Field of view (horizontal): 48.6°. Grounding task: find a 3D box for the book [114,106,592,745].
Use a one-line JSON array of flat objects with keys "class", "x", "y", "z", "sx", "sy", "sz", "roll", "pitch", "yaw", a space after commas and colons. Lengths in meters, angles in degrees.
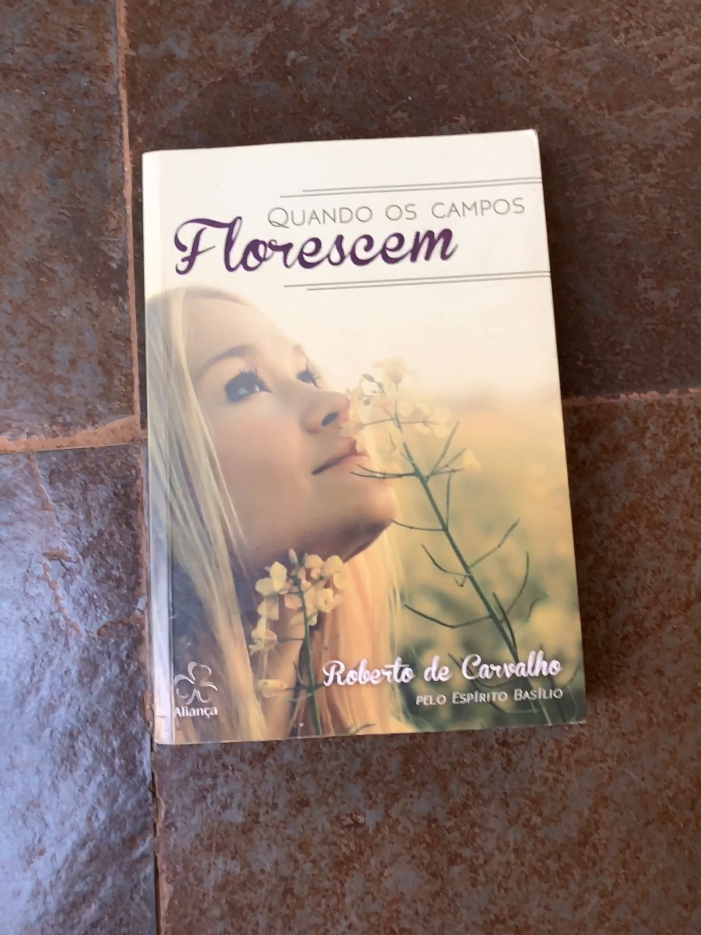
[{"class": "book", "x": -0.003, "y": -0.019, "z": 0.293, "sx": 0.161, "sy": 0.022, "sz": 0.225, "roll": -3, "pitch": 84, "yaw": 1}]
